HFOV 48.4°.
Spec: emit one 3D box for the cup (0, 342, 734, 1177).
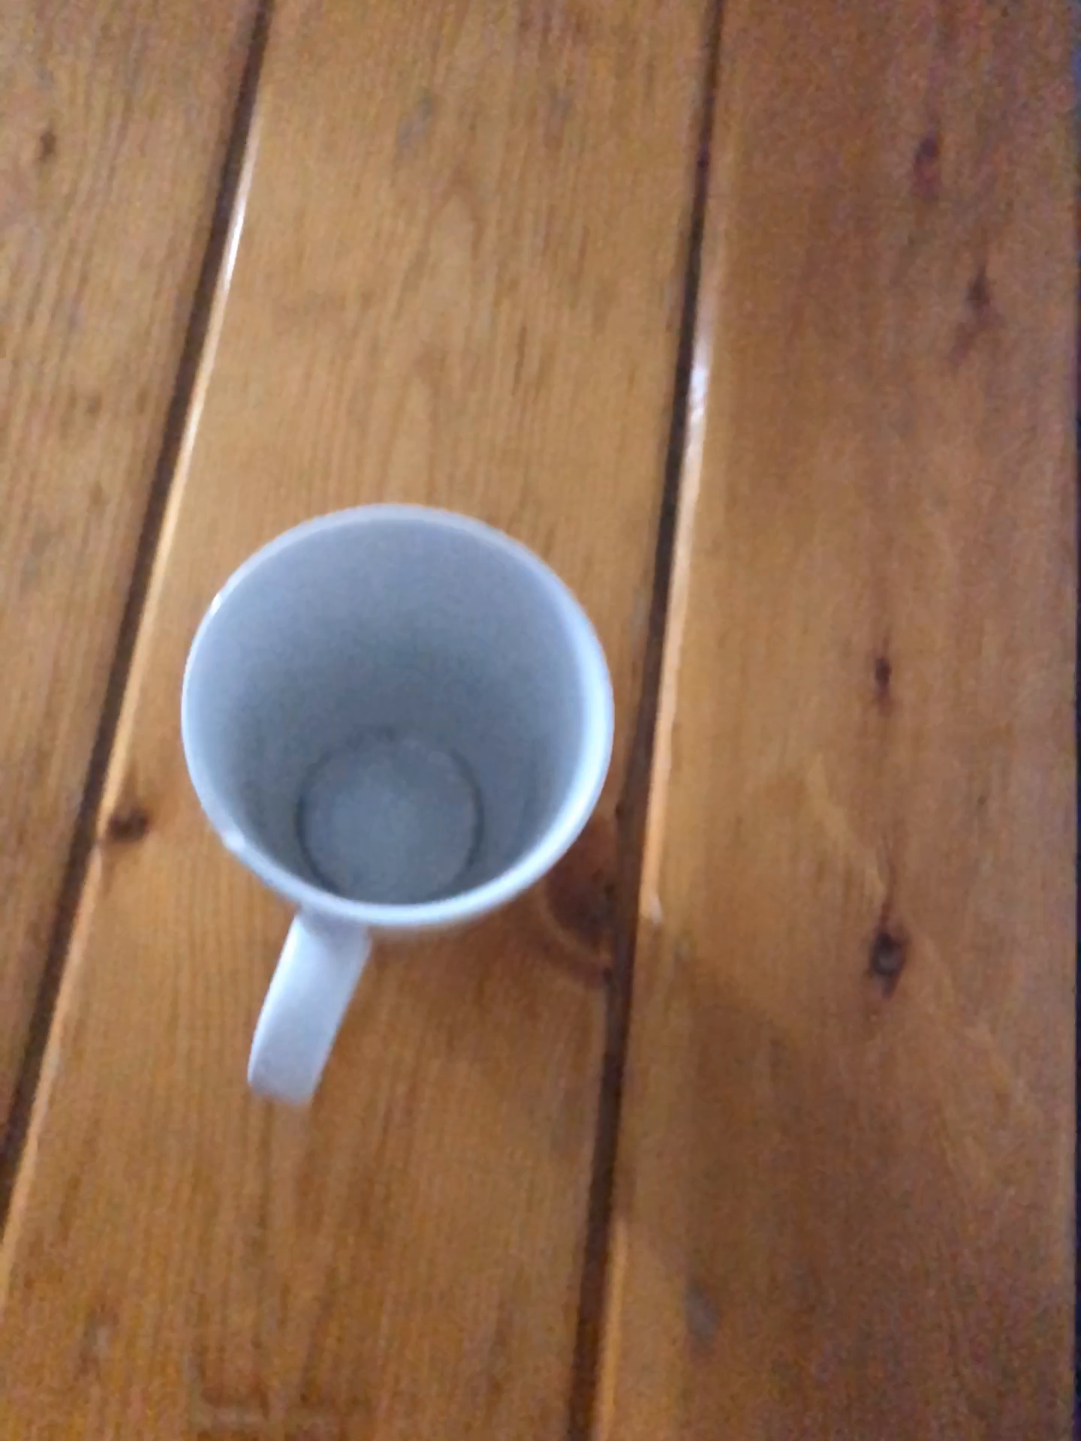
[{"bbox_3d":[-0.034,0.017,0.289,0.100,0.120,0.140,19,74,0],"label":"cup"}]
